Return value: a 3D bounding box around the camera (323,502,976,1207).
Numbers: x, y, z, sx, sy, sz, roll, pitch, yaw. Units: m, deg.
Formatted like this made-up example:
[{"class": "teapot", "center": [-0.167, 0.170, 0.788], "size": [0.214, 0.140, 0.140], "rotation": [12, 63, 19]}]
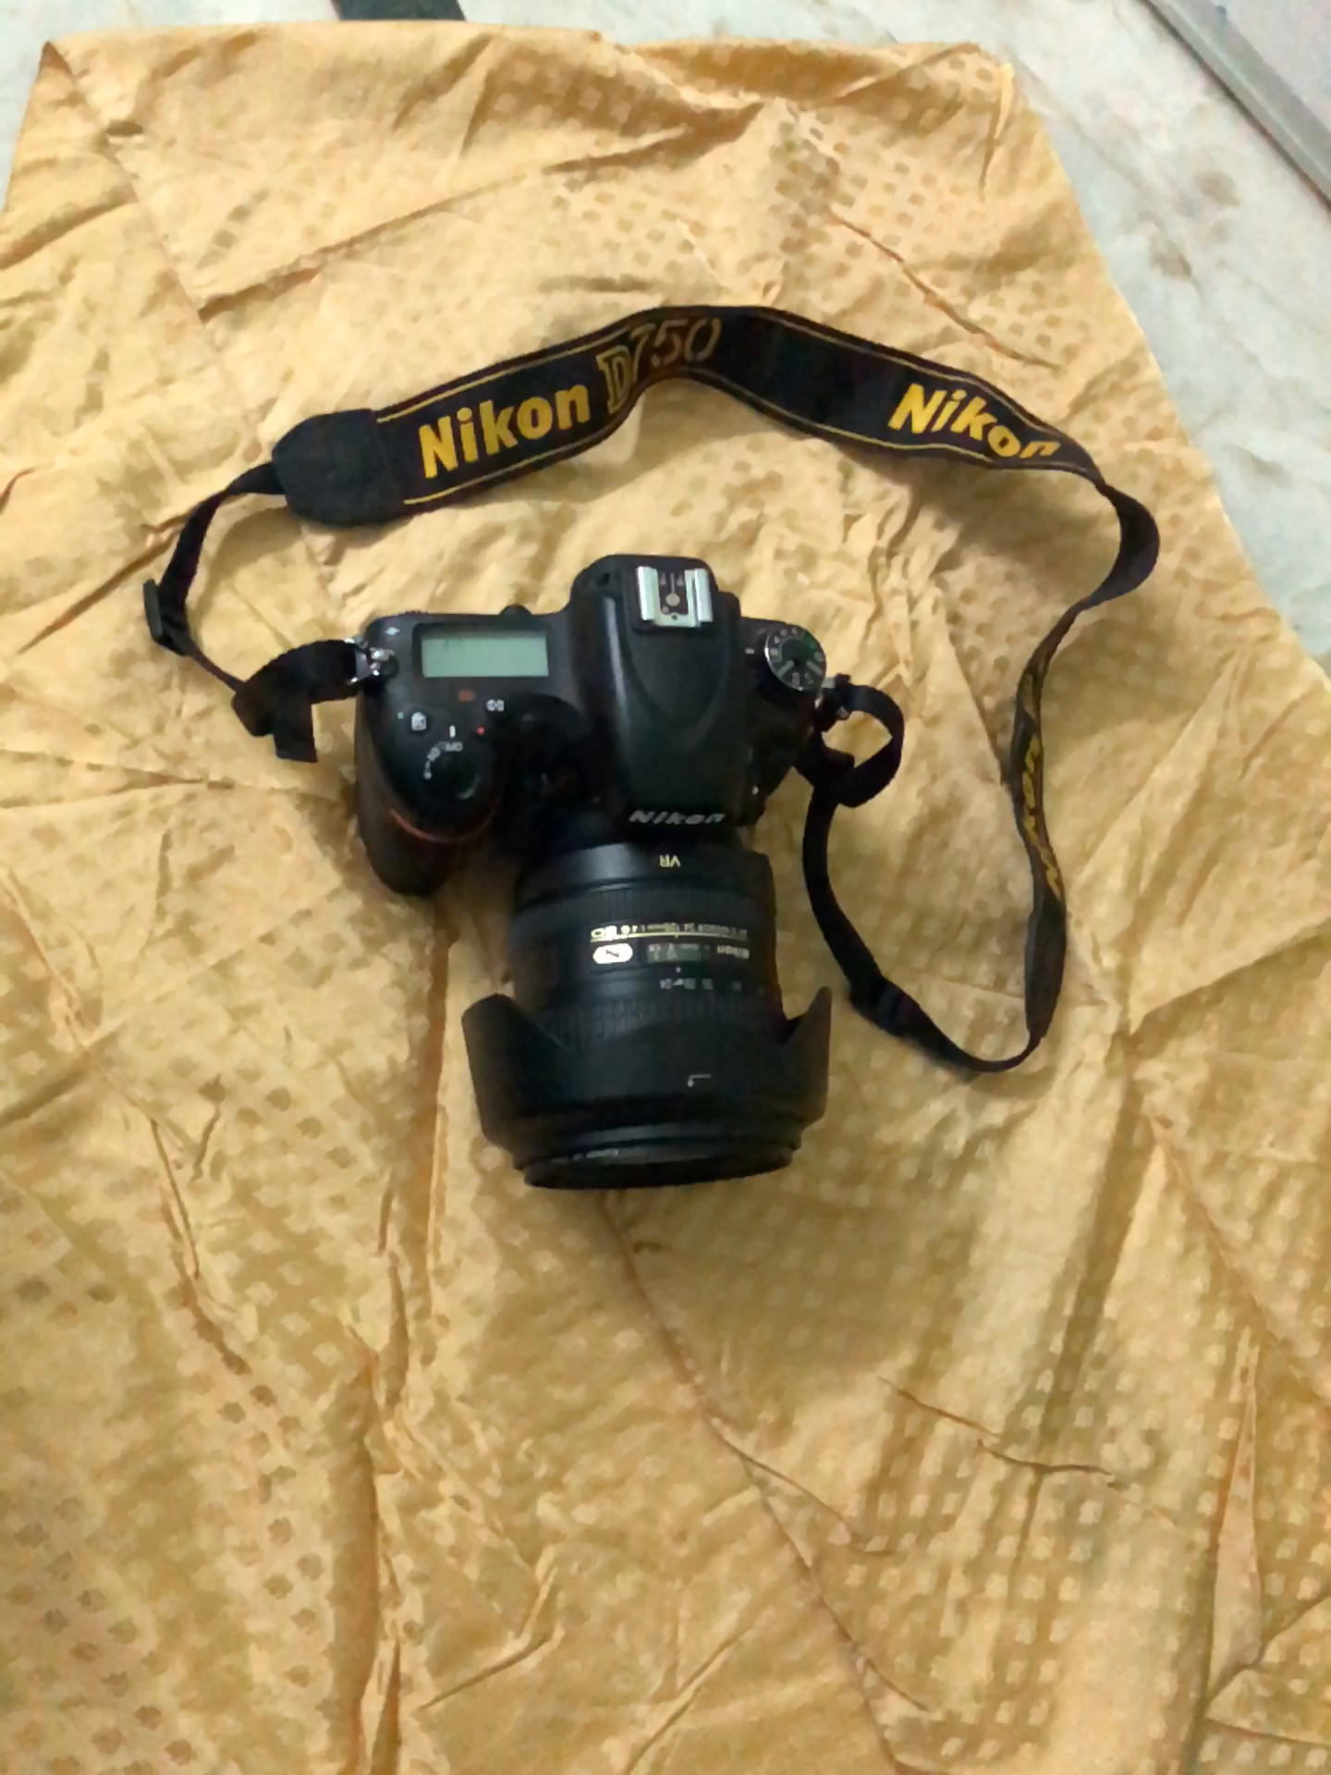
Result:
[{"class": "camera", "center": [-0.016, -0.005, 0.417], "size": [0.149, 0.110, 0.170], "rotation": [-3, 78, -14]}]
